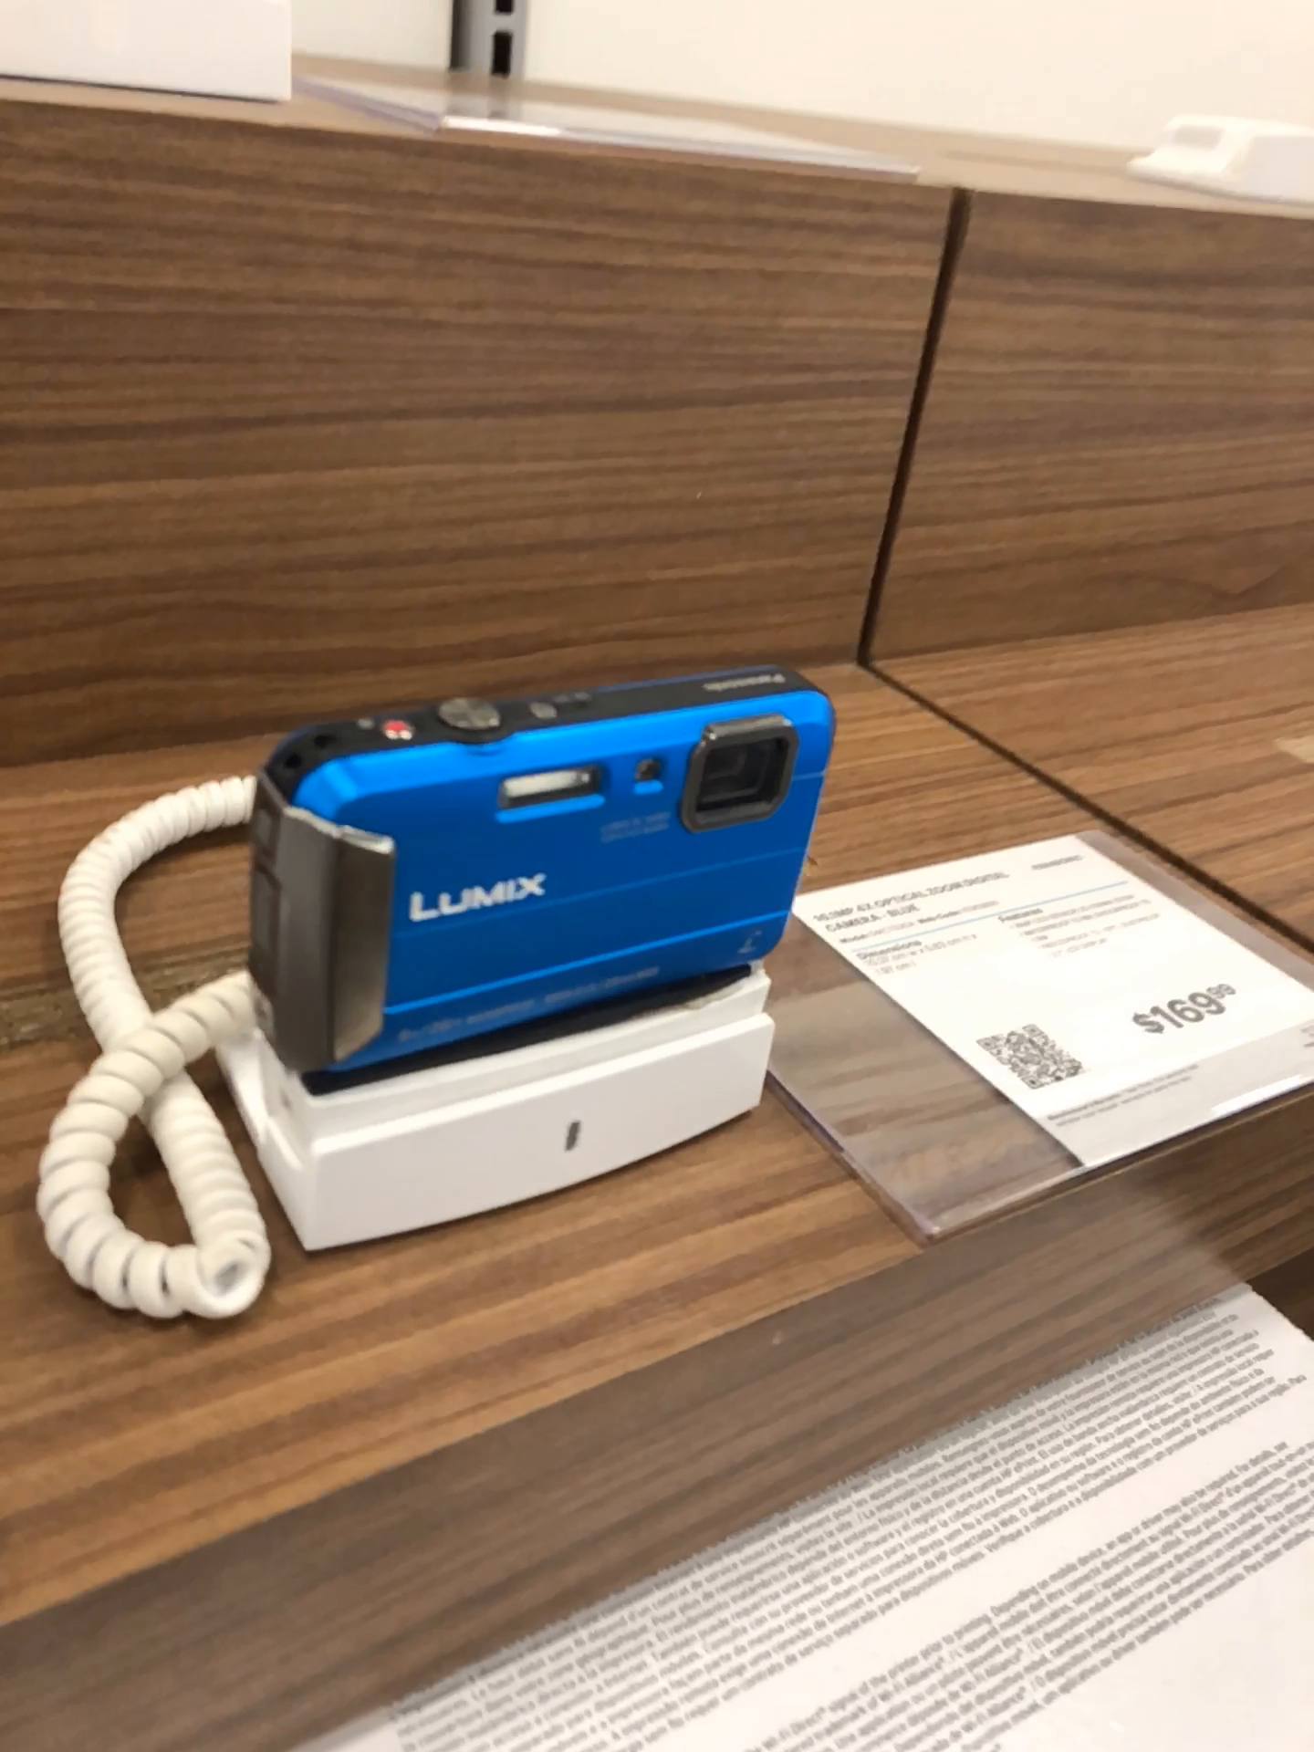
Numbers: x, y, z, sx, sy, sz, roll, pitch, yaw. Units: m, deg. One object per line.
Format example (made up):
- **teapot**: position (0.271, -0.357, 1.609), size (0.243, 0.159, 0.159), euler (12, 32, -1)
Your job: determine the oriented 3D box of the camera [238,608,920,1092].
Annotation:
- **camera**: position (-0.011, -0.008, 0.239), size (0.110, 0.060, 0.020), euler (-12, 38, -31)
